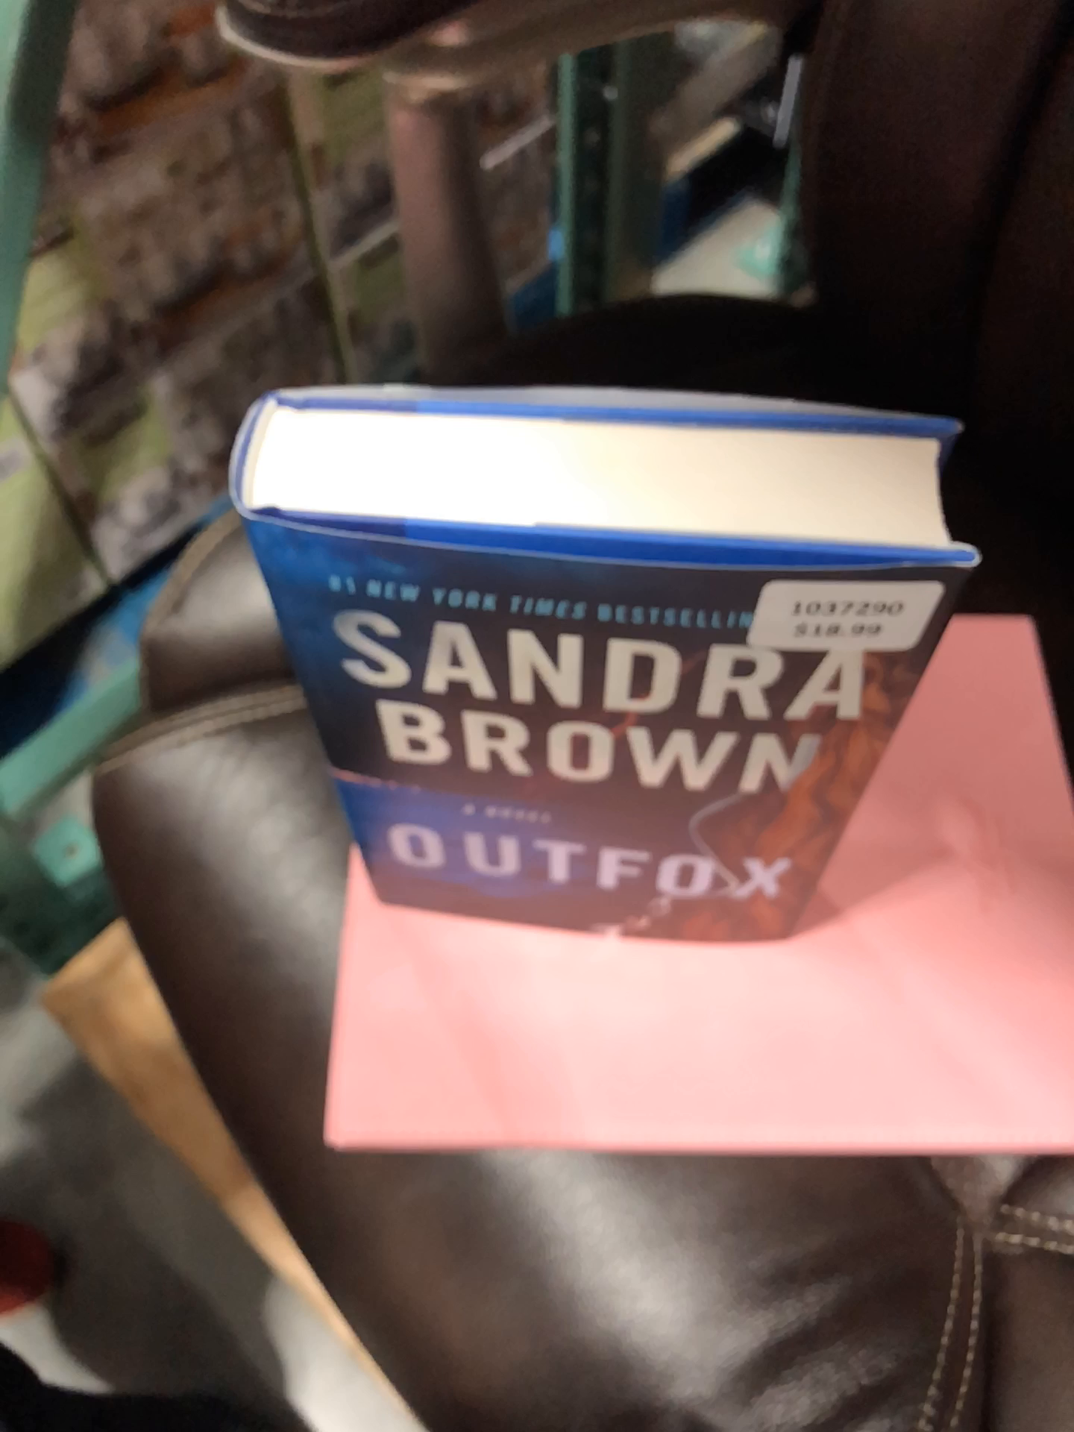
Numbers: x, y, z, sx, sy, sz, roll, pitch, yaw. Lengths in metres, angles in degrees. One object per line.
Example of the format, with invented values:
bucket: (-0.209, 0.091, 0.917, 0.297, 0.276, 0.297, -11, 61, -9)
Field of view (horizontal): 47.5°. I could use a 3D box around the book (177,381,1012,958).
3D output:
book: (0.013, 0.007, 0.355, 0.167, 0.228, 0.048, 4, 62, 3)
